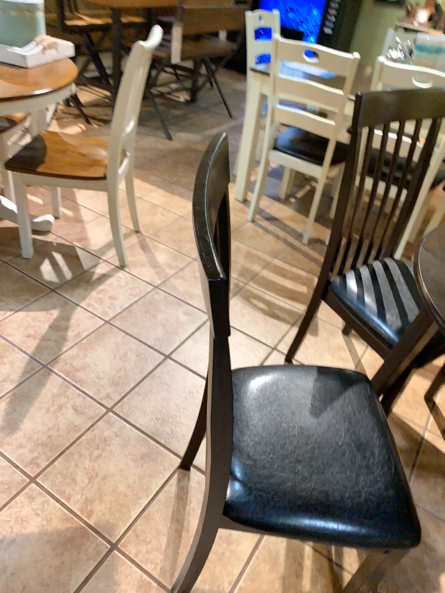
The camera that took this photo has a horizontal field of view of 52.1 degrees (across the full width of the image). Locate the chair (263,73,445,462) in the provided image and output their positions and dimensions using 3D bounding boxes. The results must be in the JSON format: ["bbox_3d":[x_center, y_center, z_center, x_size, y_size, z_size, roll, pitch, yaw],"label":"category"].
[{"bbox_3d":[0.523,-0.074,1.338,0.385,0.933,0.543,-20,47,-33],"label":"chair"}]

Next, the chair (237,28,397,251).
[{"bbox_3d":[0.448,-0.794,2.301,0.405,0.893,0.543,27,41,21],"label":"chair"}]

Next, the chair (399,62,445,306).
[{"bbox_3d":[1.290,-0.507,2.074,0.522,0.884,0.405,33,43,27],"label":"chair"}]

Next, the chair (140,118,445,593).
[{"bbox_3d":[0.160,0.226,0.899,0.561,0.923,0.456,6,38,-4],"label":"chair"}]

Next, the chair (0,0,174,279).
[{"bbox_3d":[-0.520,-0.599,1.823,0.541,0.893,0.466,7,38,-3],"label":"chair"}]
